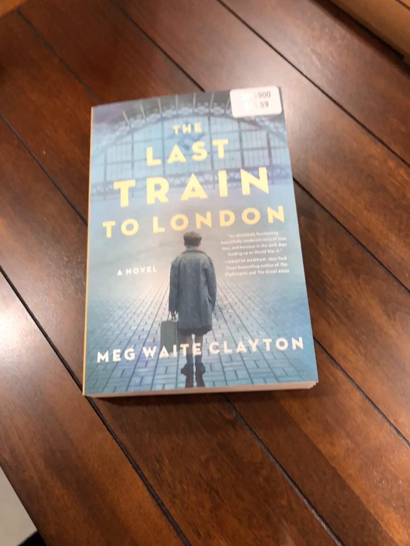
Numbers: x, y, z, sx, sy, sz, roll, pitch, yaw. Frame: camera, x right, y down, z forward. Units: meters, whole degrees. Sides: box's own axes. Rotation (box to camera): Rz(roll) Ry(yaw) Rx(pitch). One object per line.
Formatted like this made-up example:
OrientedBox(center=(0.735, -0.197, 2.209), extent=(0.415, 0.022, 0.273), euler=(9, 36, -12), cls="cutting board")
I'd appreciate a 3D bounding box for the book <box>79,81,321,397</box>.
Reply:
OrientedBox(center=(-0.006, -0.027, 0.335), extent=(0.151, 0.041, 0.220), euler=(-4, 73, 6), cls="book")
